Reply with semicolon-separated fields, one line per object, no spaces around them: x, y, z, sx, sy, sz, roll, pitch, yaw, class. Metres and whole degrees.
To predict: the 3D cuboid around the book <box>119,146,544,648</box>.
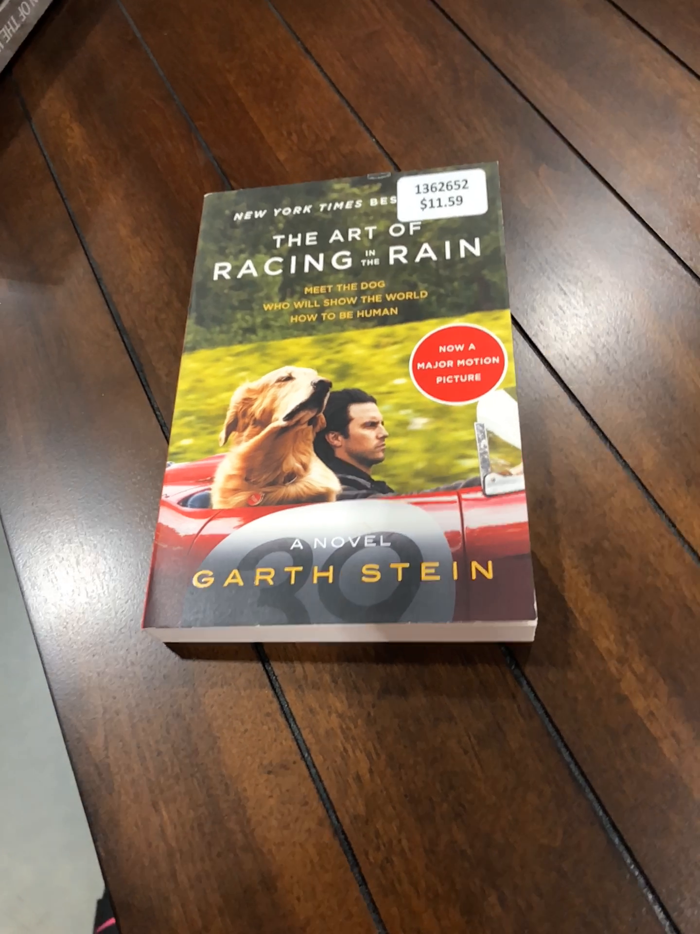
-0.004;-0.036;0.313;0.140;0.028;0.210;-3;62;9;book
